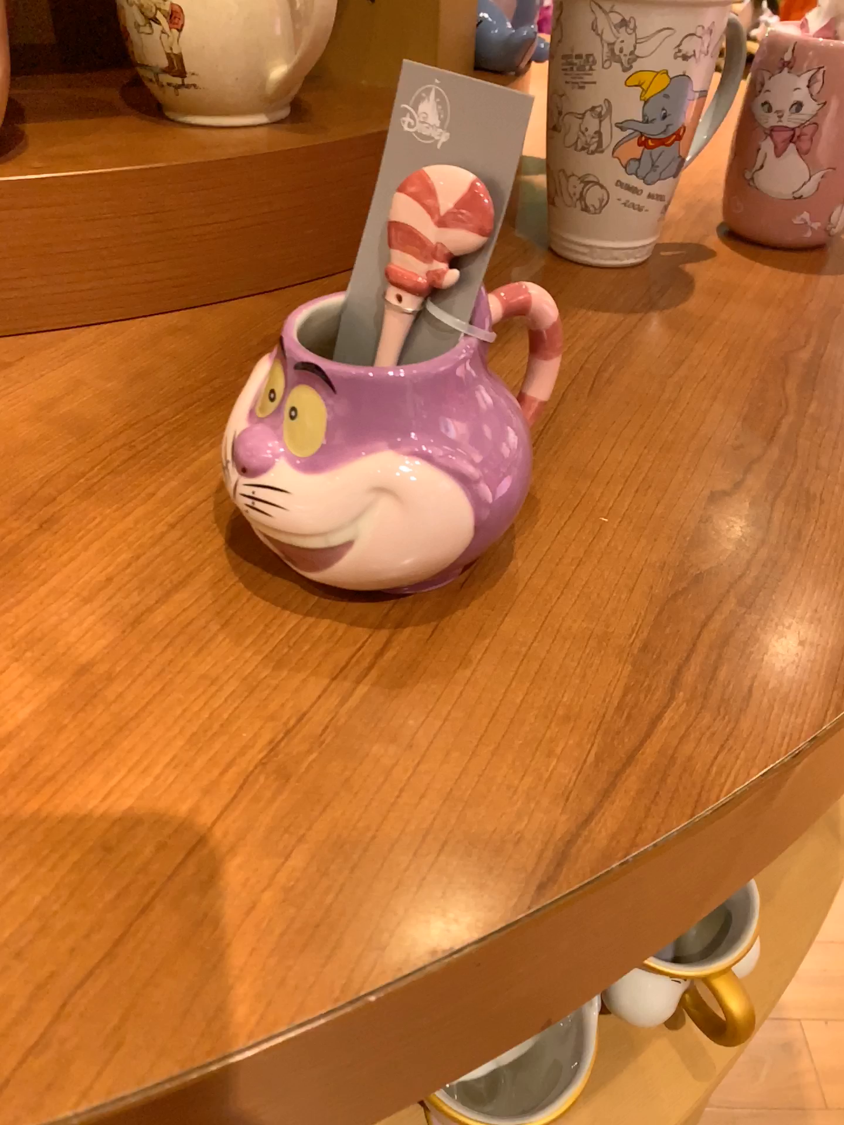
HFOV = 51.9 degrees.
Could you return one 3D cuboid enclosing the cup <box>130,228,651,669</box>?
[{"bbox_3d":[-0.005,-0.054,0.317,0.114,0.077,0.143,25,43,26],"label":"cup"}]
